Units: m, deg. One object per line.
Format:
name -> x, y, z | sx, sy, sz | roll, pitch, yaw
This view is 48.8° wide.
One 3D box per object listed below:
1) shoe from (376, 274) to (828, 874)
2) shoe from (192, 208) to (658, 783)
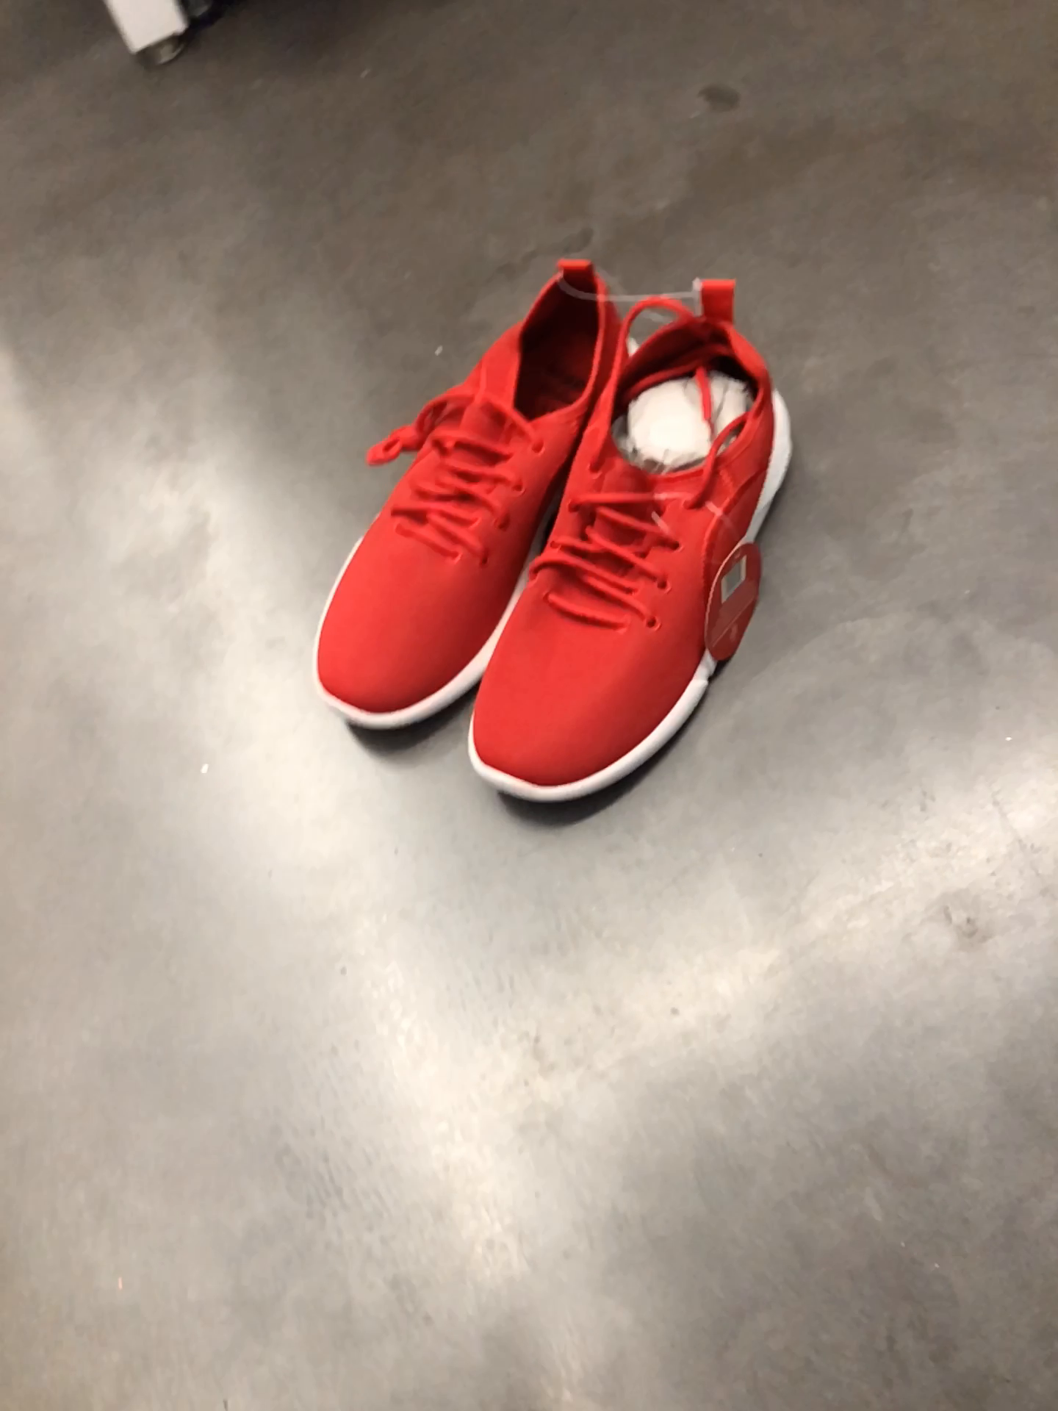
shoe -> 0.043, -0.065, 0.553 | 0.100, 0.100, 0.251 | 22, 70, 17
shoe -> -0.037, -0.106, 0.574 | 0.100, 0.100, 0.251 | 23, 71, 17
